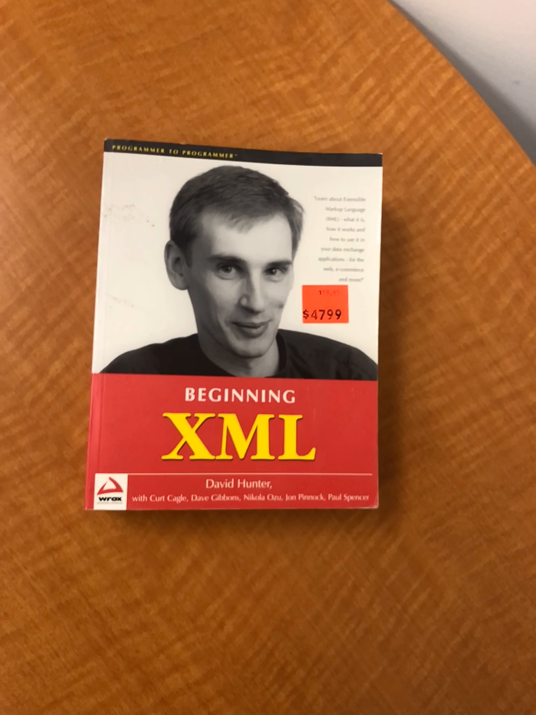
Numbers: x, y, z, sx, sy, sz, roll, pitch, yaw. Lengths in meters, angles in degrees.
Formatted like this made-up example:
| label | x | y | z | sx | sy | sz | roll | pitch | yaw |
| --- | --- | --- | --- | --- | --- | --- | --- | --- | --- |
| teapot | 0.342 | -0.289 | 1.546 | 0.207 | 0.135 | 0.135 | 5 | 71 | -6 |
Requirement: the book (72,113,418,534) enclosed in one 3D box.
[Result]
| label | x | y | z | sx | sy | sz | roll | pitch | yaw |
| --- | --- | --- | --- | --- | --- | --- | --- | --- | --- |
| book | -0.011 | -0.019 | 0.428 | 0.220 | 0.070 | 0.270 | 3 | 82 | -8 |
